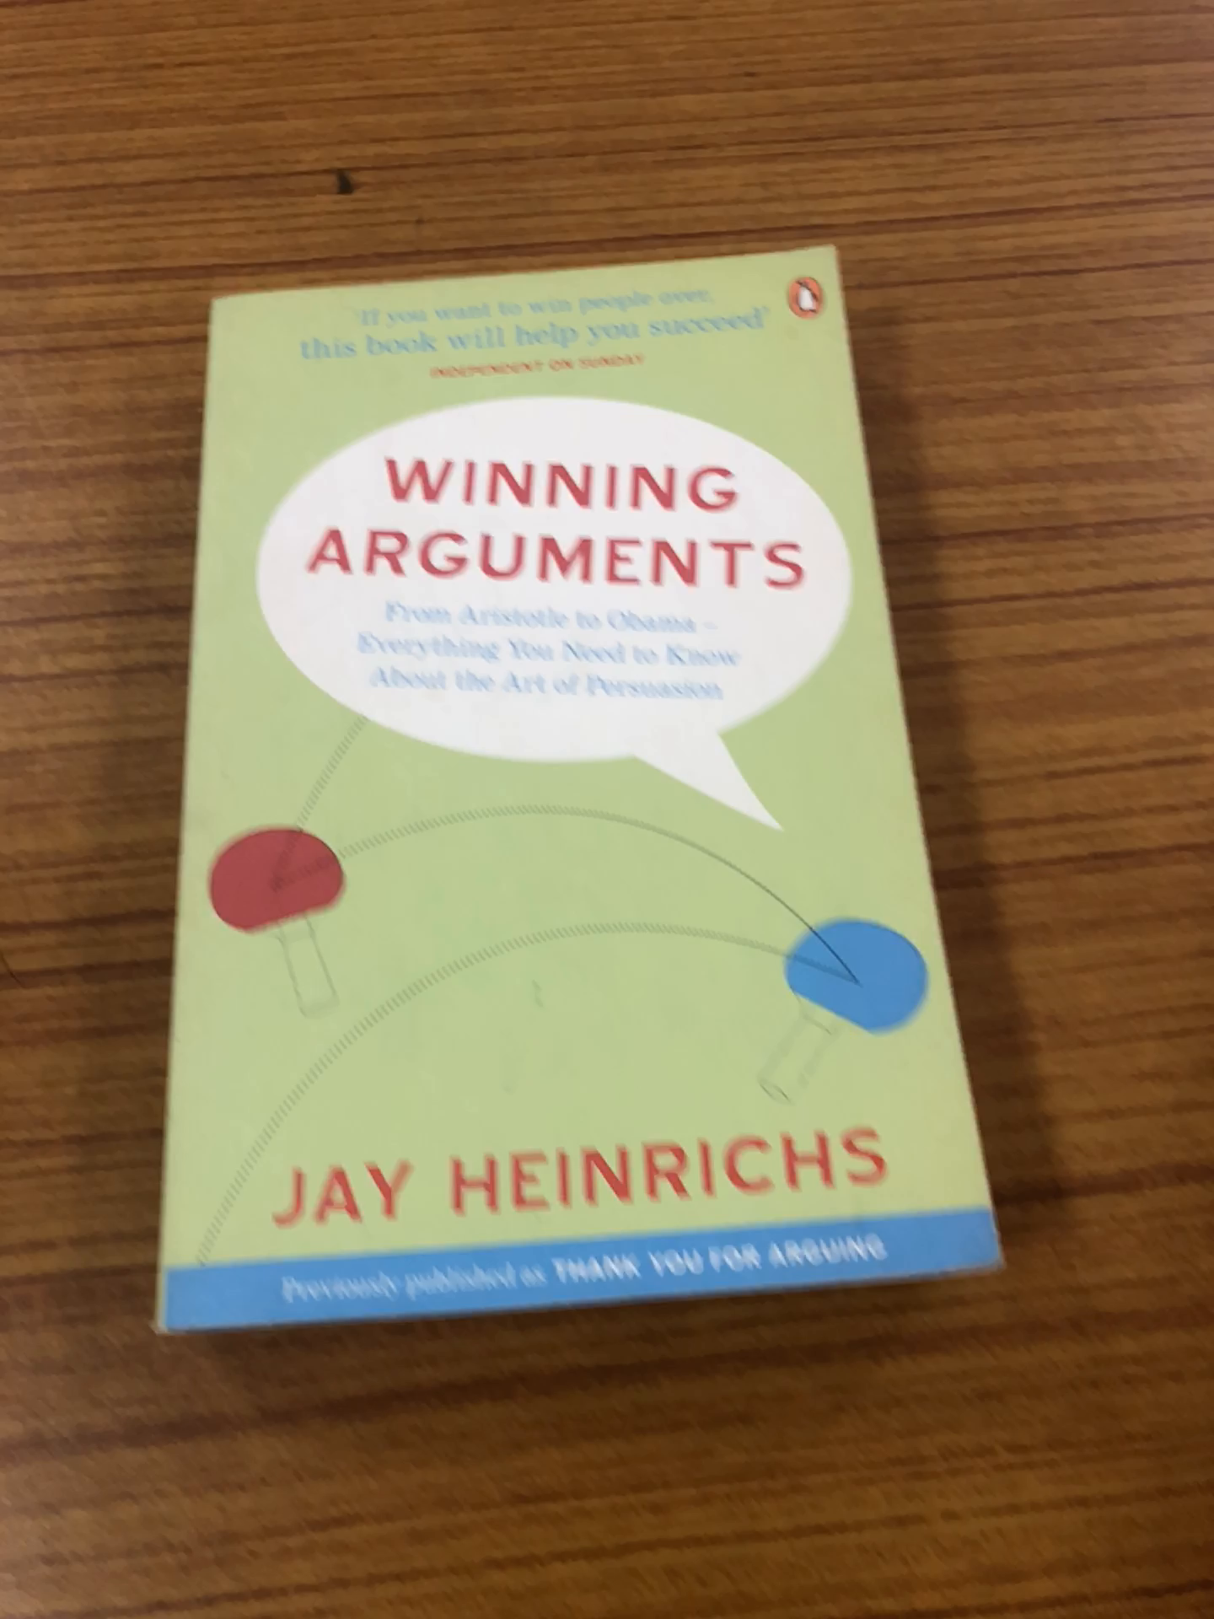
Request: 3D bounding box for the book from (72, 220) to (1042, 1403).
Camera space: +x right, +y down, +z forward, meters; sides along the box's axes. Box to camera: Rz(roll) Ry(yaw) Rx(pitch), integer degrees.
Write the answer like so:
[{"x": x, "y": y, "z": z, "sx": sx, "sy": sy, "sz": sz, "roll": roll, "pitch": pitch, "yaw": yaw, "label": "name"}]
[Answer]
[{"x": -0.013, "y": -0.011, "z": 0.248, "sx": 0.140, "sy": 0.030, "sz": 0.210, "roll": -3, "pitch": 69, "yaw": -1, "label": "book"}]
